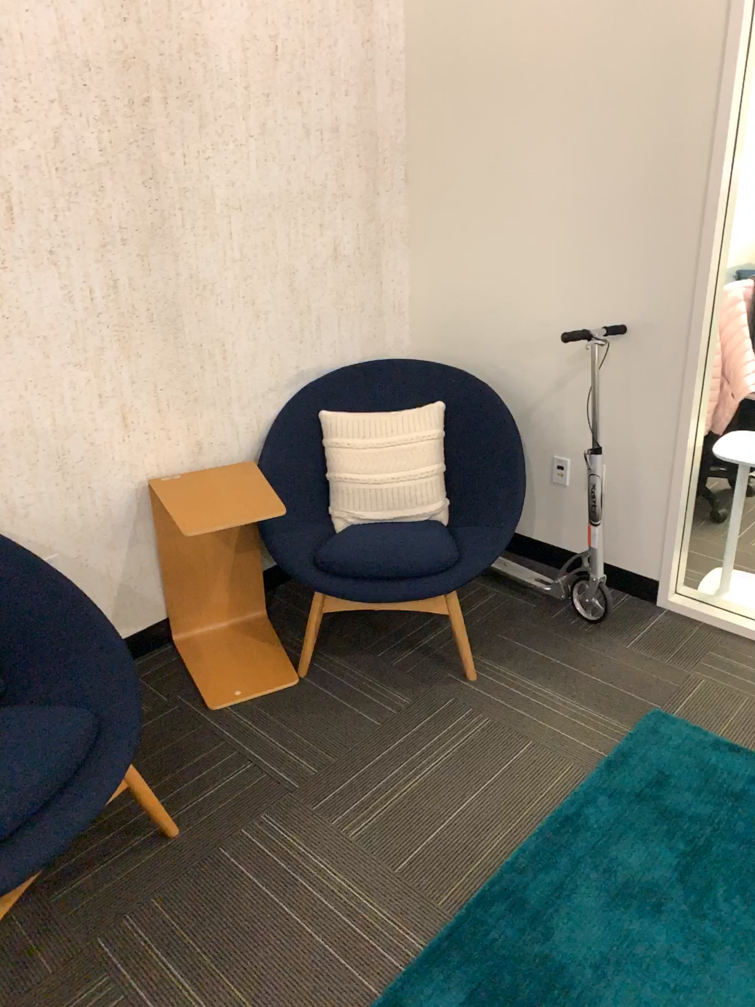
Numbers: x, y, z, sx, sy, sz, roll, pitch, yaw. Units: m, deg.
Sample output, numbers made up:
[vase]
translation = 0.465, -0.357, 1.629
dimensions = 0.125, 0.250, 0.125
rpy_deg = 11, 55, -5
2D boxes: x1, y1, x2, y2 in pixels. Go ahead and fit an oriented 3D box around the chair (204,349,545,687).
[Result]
[chair]
translation = 0.023, 0.000, 2.567
dimensions = 0.890, 0.816, 0.885
rpy_deg = -1, 24, 3
